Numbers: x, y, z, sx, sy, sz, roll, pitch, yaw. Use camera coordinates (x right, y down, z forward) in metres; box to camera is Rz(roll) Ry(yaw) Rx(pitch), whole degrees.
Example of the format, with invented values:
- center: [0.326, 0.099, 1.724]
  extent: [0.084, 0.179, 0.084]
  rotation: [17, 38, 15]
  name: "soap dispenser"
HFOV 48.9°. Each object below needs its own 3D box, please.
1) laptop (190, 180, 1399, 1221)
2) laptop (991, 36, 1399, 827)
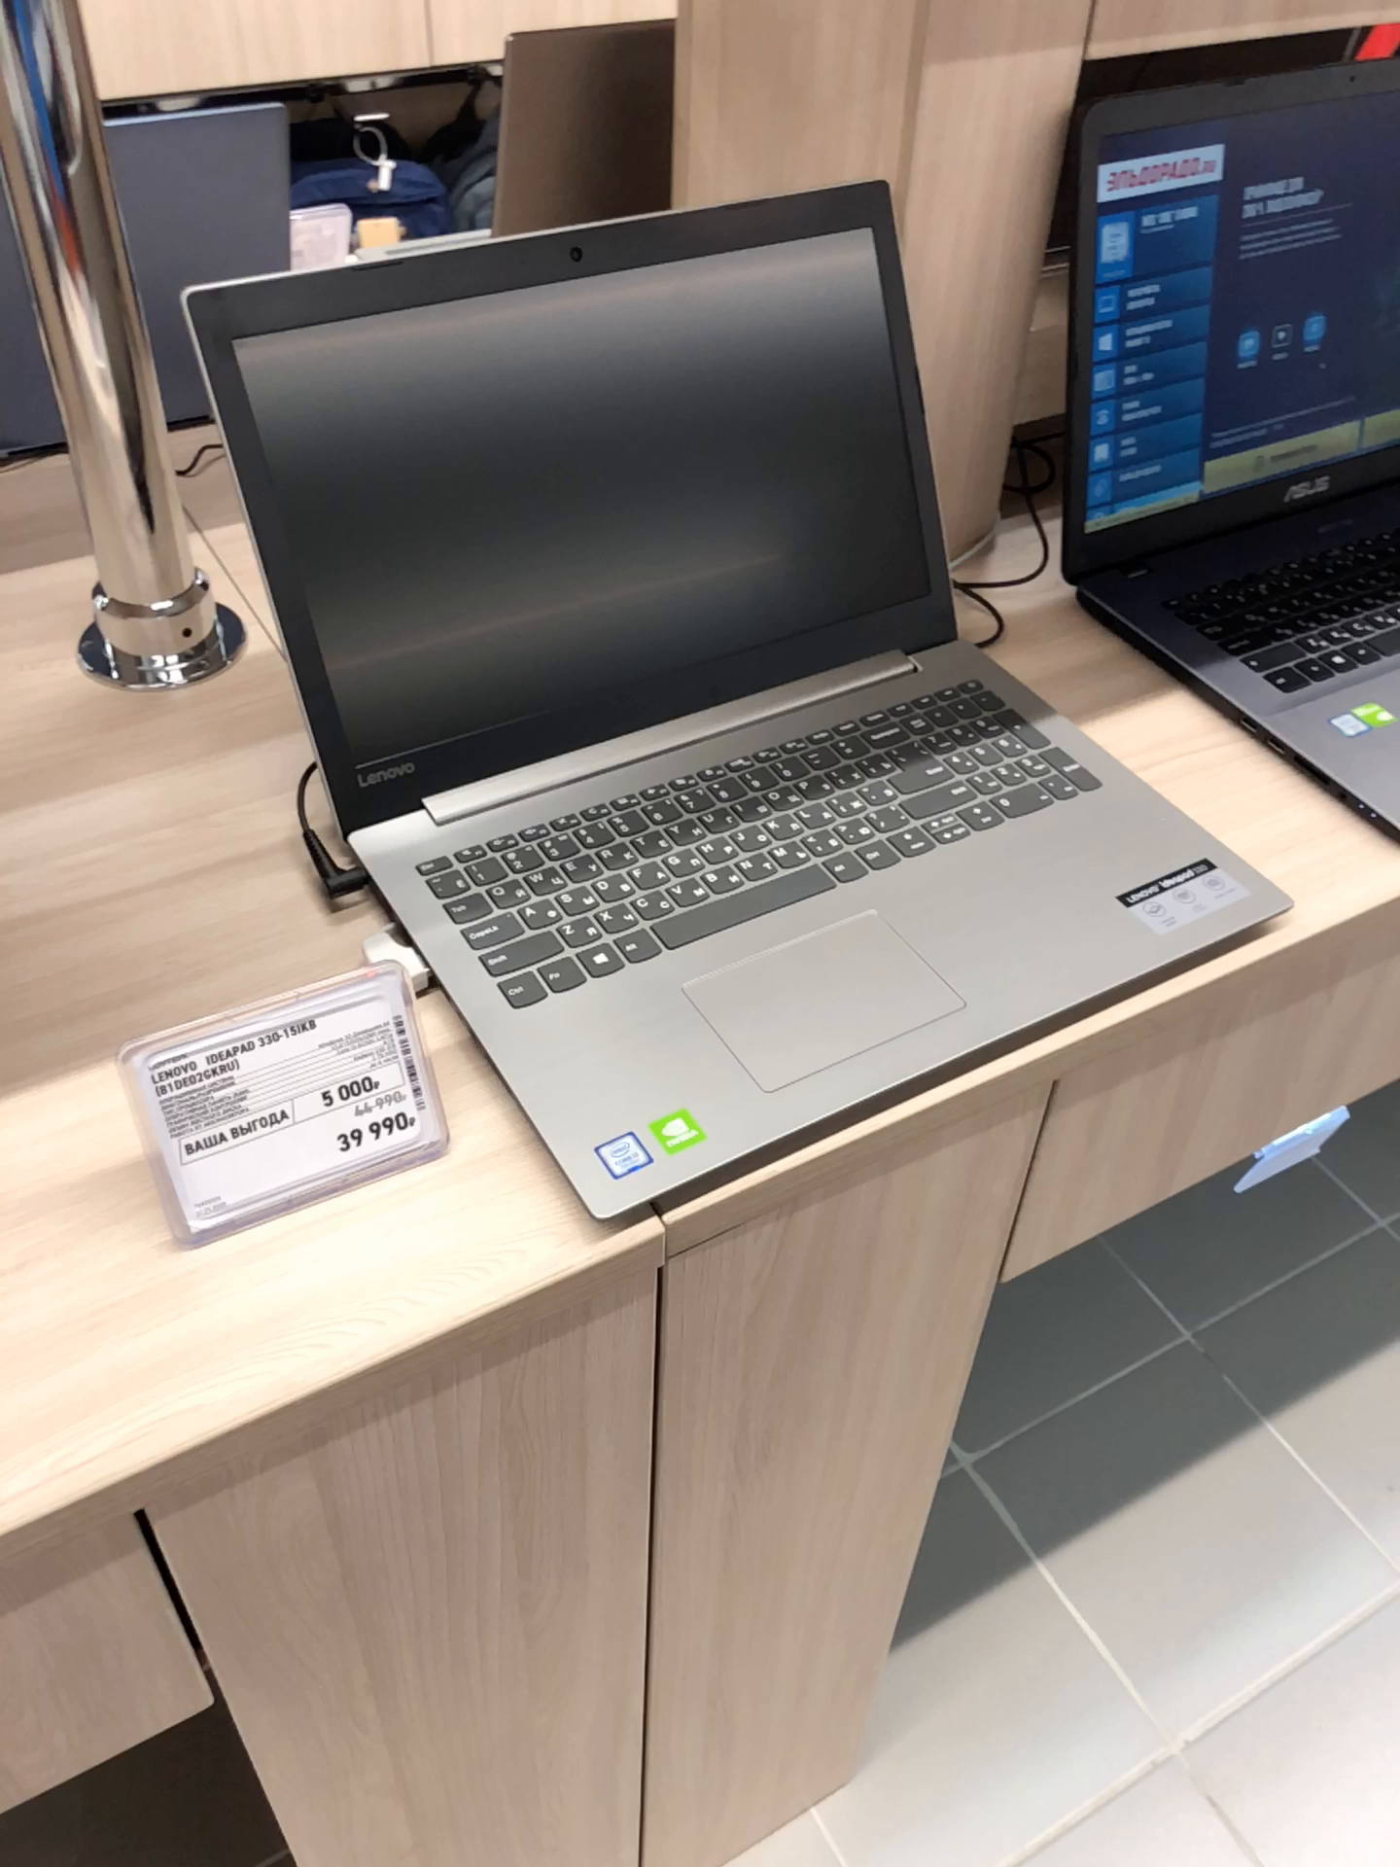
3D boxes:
- center: [0.031, -0.143, 0.684]
  extent: [0.370, 0.208, 0.367]
  rotation: [-21, 48, -23]
  name: "laptop"
- center: [0.453, -0.306, 0.866]
  extent: [0.403, 0.246, 0.335]
  rotation: [-20, 48, -23]
  name: "laptop"
